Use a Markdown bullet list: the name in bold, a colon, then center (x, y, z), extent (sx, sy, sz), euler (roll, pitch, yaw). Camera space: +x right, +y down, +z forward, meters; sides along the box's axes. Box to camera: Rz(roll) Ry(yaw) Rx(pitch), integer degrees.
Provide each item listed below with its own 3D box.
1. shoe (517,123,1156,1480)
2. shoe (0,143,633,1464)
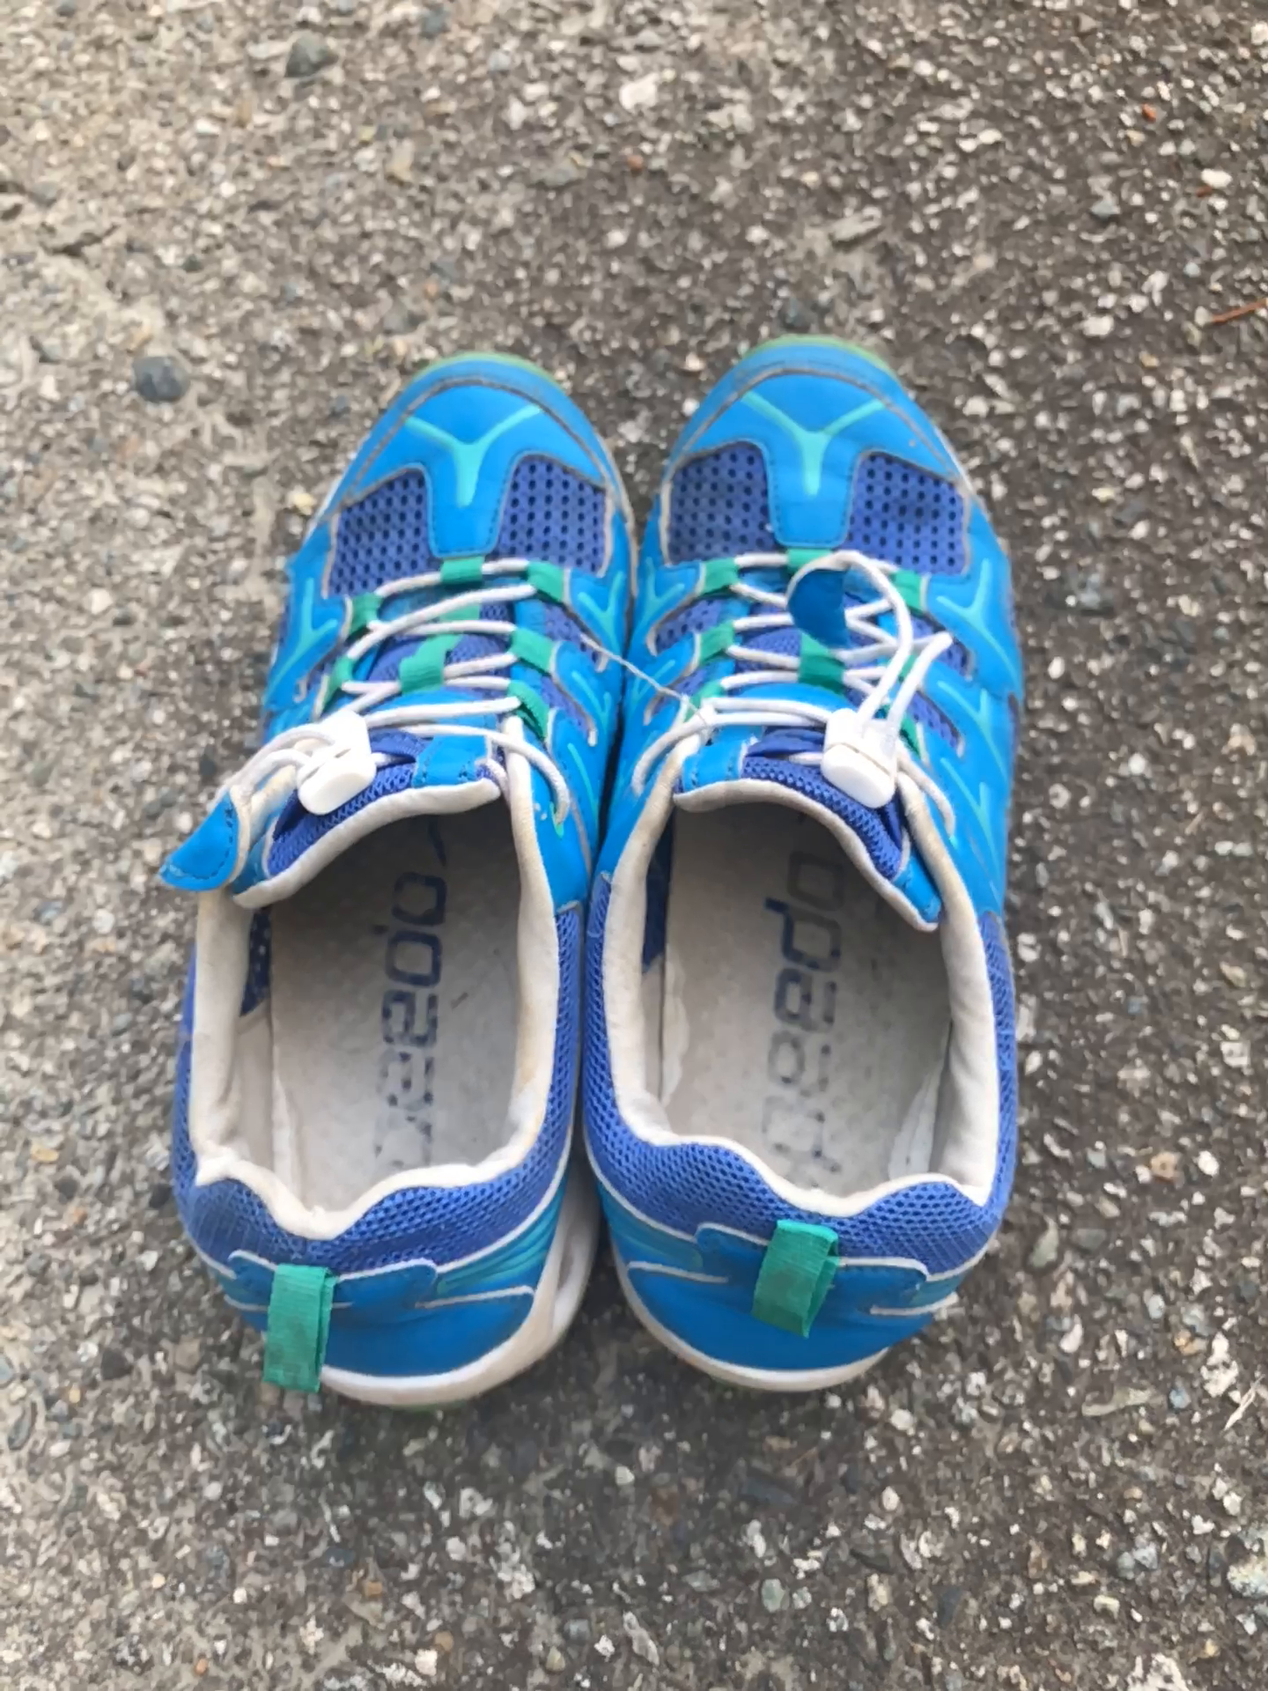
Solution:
- **shoe**: center (0.041, -0.013, 0.297), extent (0.100, 0.090, 0.250), euler (2, 76, 5)
- **shoe**: center (-0.060, -0.014, 0.314), extent (0.100, 0.090, 0.260), euler (2, 76, 5)
